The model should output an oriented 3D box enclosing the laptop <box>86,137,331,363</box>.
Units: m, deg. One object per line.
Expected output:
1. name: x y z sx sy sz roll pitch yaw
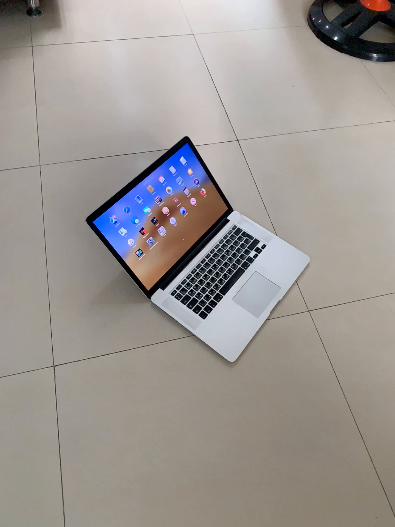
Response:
1. laptop: 0.026 -0.052 0.956 0.415 0.162 0.353 34 62 16
